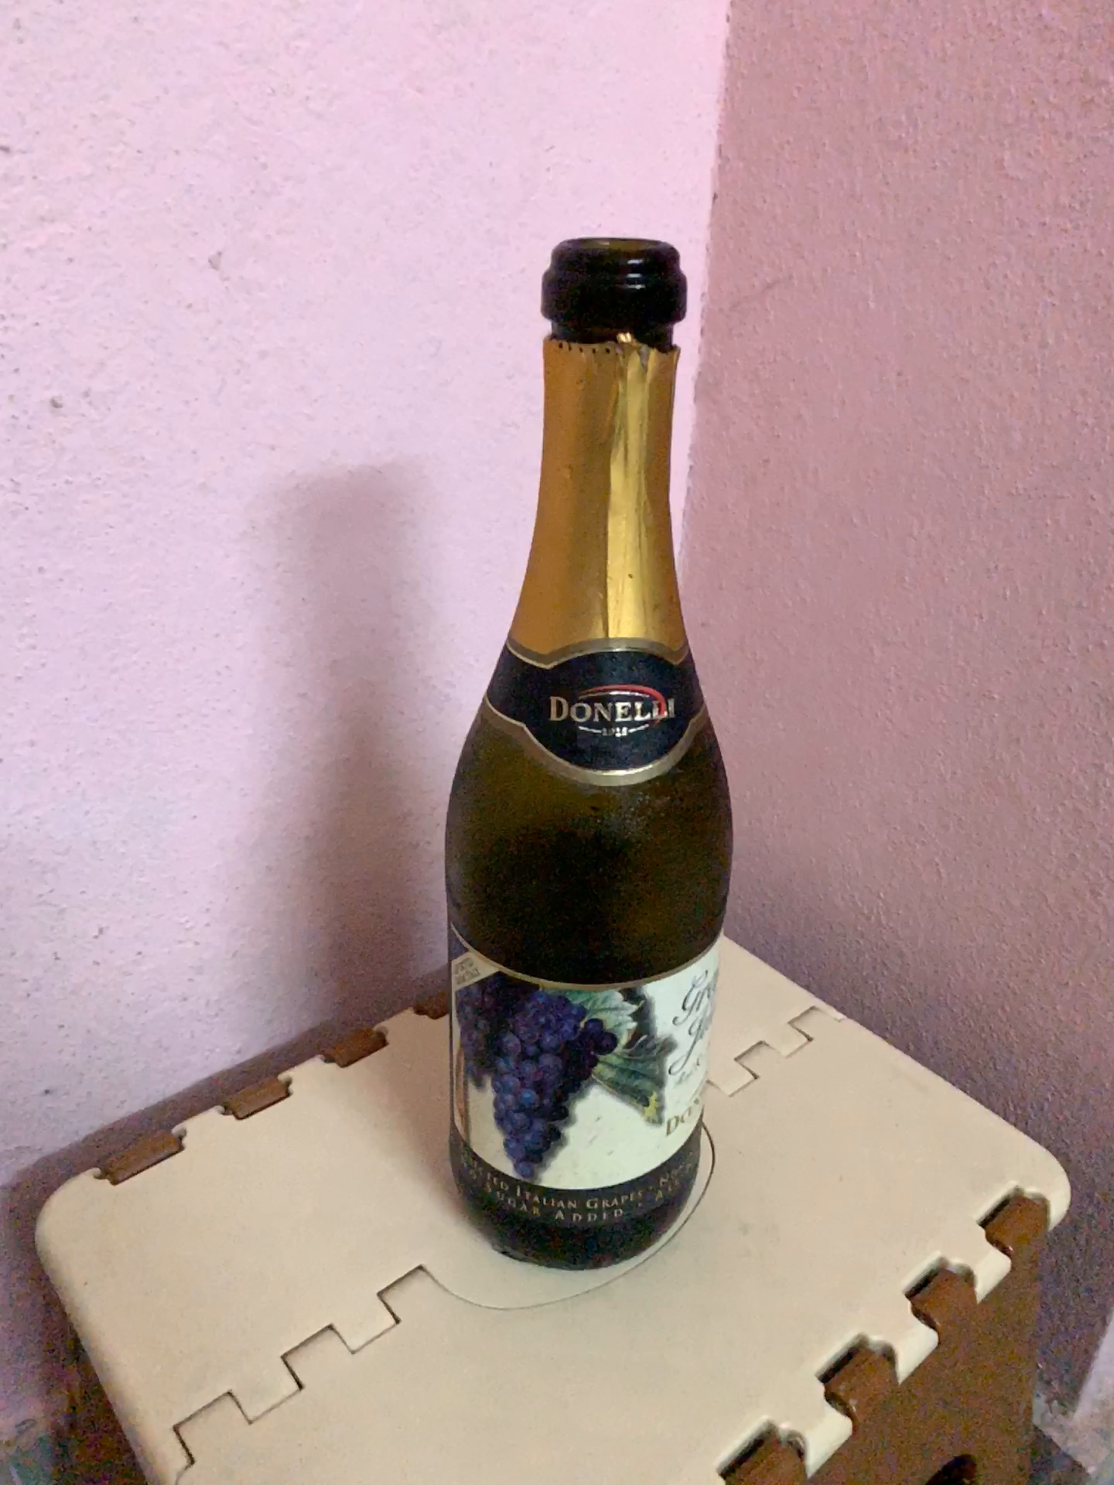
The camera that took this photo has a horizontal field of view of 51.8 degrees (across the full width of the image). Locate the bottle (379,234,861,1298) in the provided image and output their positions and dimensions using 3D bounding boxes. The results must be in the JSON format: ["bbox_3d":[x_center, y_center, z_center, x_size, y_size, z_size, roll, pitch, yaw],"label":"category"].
[{"bbox_3d":[0.004,0.020,0.307,0.090,0.279,0.070,-3,28,-8],"label":"bottle"}]
